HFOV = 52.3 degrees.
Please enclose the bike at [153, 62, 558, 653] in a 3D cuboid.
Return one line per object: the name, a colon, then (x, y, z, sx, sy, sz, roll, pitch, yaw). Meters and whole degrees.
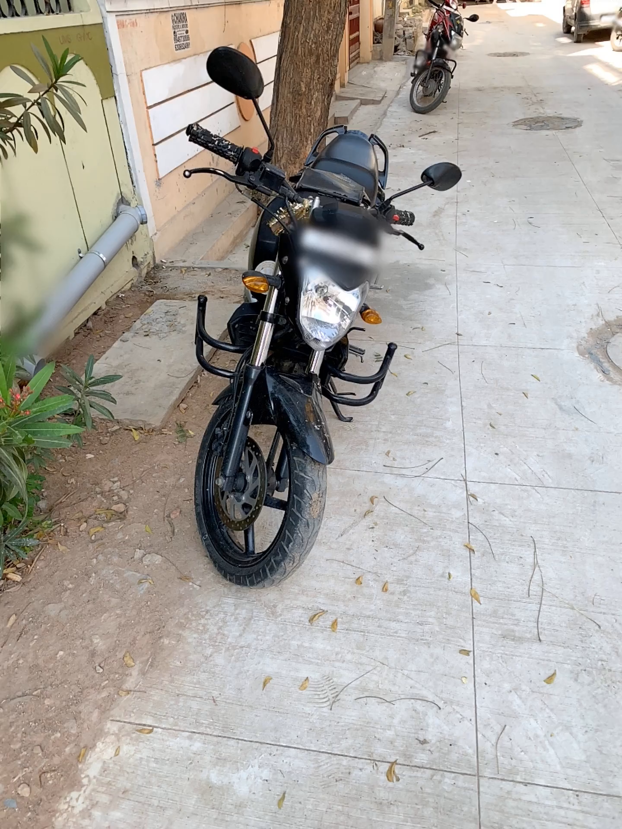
bike: (0.158, -0.370, 2.112, 0.747, 1.075, 1.691, 1, 38, 7)
